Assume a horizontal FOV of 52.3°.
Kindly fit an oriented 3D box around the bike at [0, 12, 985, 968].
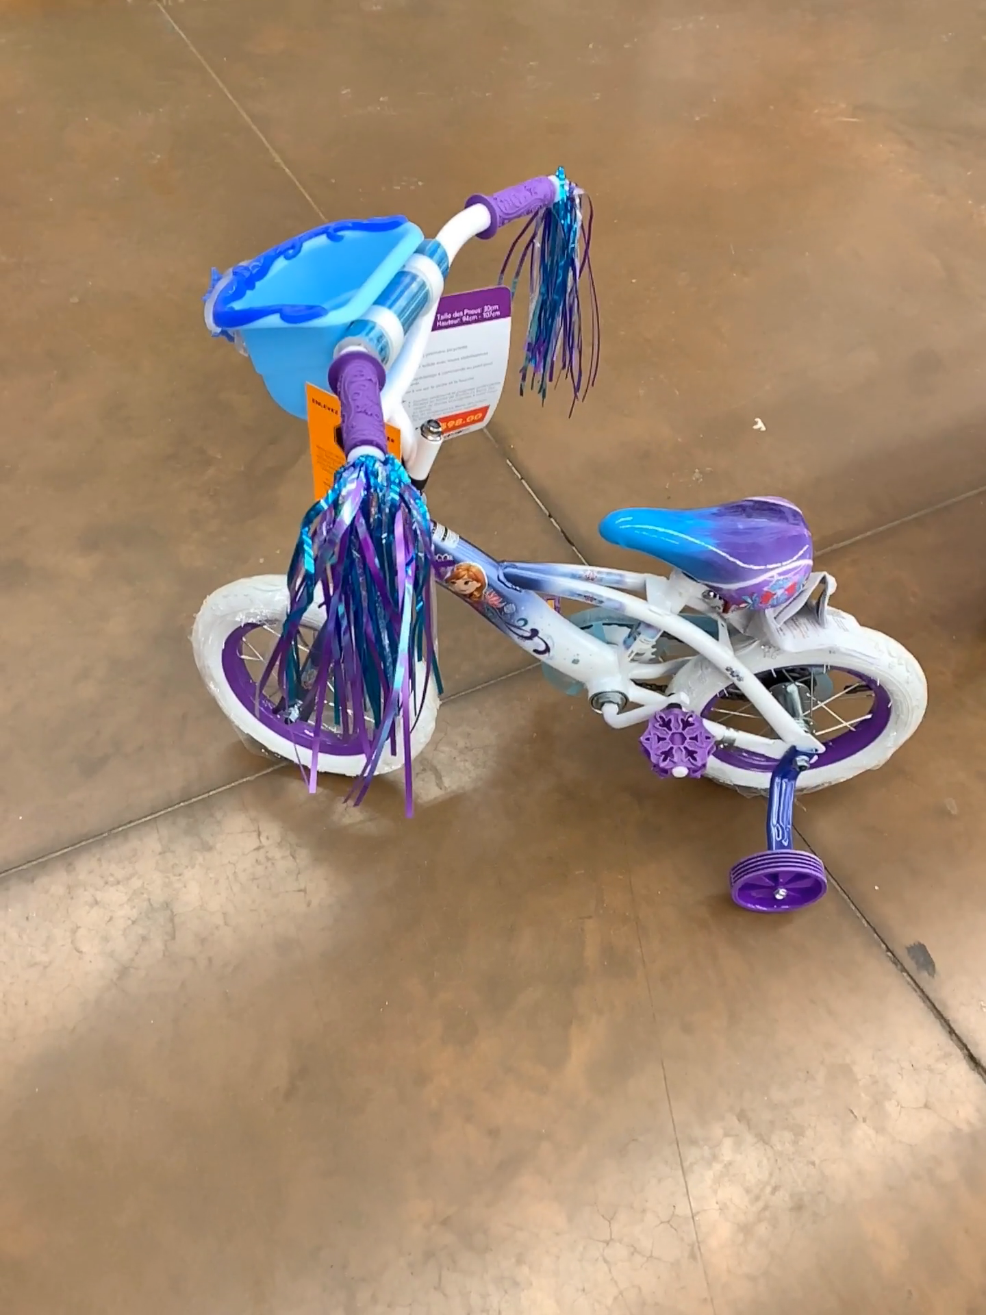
[{"bbox_3d":[0.097,-0.081,0.933,0.804,0.633,0.441,7,52,-3],"label":"bike"}]
